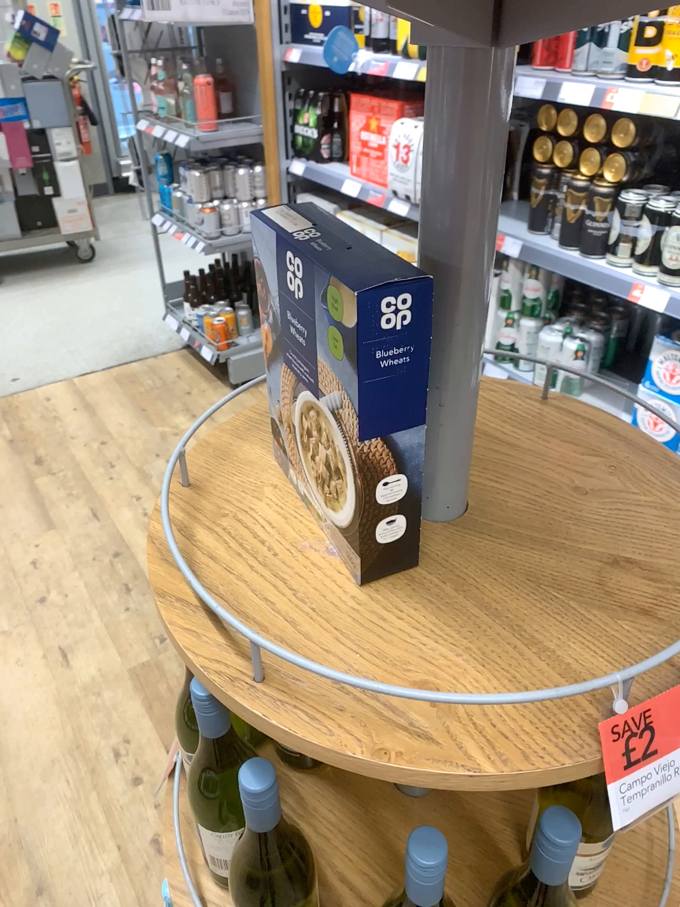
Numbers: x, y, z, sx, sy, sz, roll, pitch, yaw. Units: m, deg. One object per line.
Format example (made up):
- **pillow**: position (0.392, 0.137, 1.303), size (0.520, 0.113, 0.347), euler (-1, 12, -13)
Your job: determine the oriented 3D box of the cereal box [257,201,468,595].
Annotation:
- **cereal box**: position (0.006, -0.049, 0.535), size (0.060, 0.228, 0.202), euler (-15, 36, -20)
